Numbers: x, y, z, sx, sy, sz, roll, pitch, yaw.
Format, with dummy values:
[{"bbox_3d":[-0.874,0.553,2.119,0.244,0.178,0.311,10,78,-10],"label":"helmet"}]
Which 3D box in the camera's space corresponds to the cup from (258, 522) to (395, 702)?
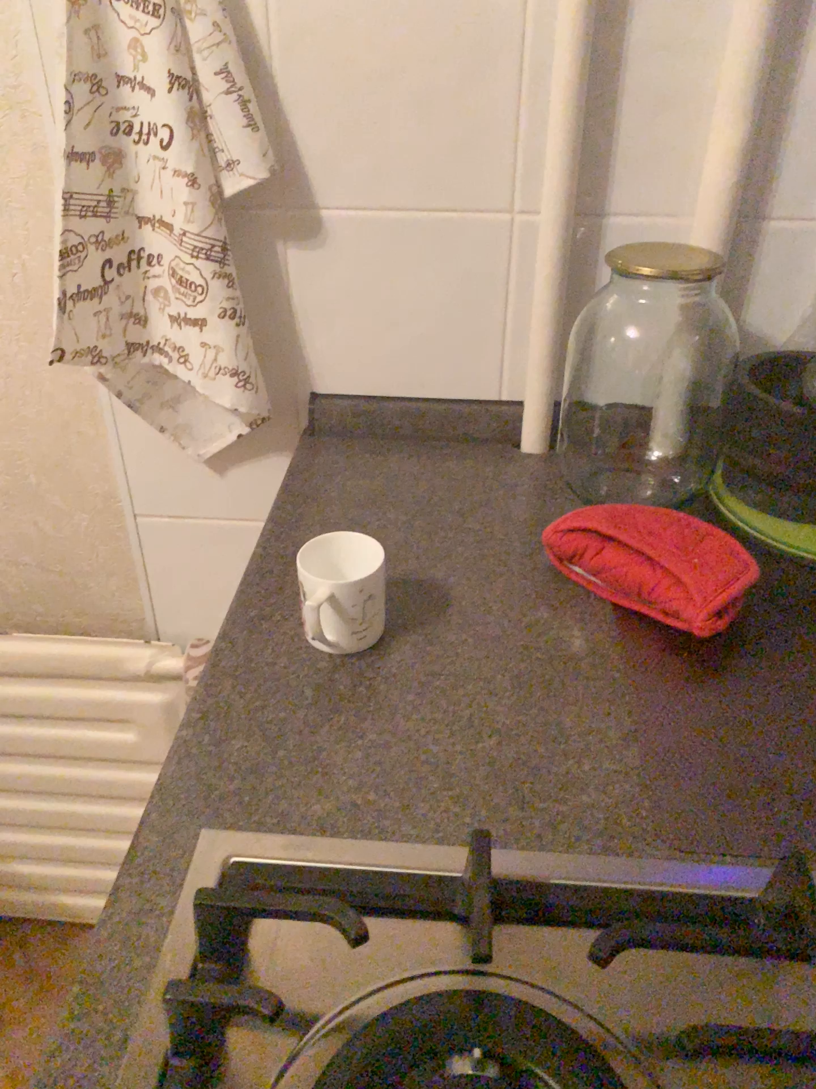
[{"bbox_3d":[-0.050,0.042,0.553,0.060,0.069,0.091,9,34,13],"label":"cup"}]
